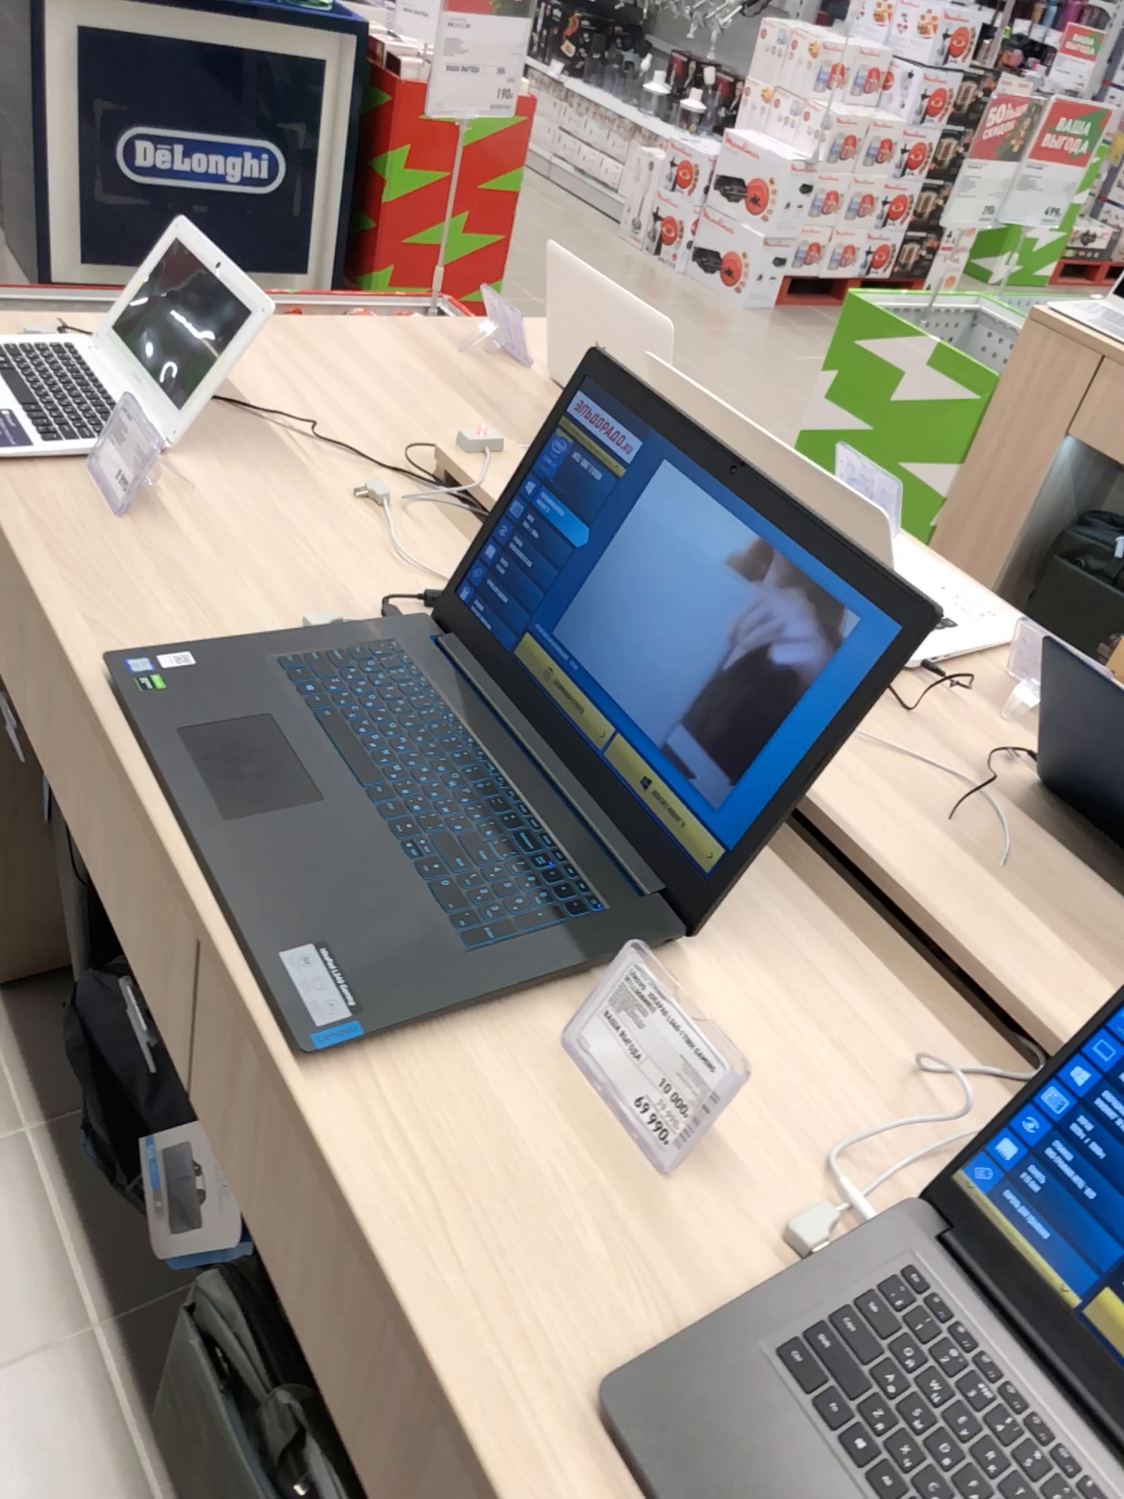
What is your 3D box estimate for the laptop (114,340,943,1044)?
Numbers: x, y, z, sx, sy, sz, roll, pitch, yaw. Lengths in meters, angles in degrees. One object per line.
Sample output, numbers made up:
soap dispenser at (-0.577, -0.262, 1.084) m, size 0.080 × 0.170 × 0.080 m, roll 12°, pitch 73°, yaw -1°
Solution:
laptop at (-0.054, -0.082, 0.842) m, size 0.381 × 0.242 × 0.396 m, roll -11°, pitch 43°, yaw -32°
